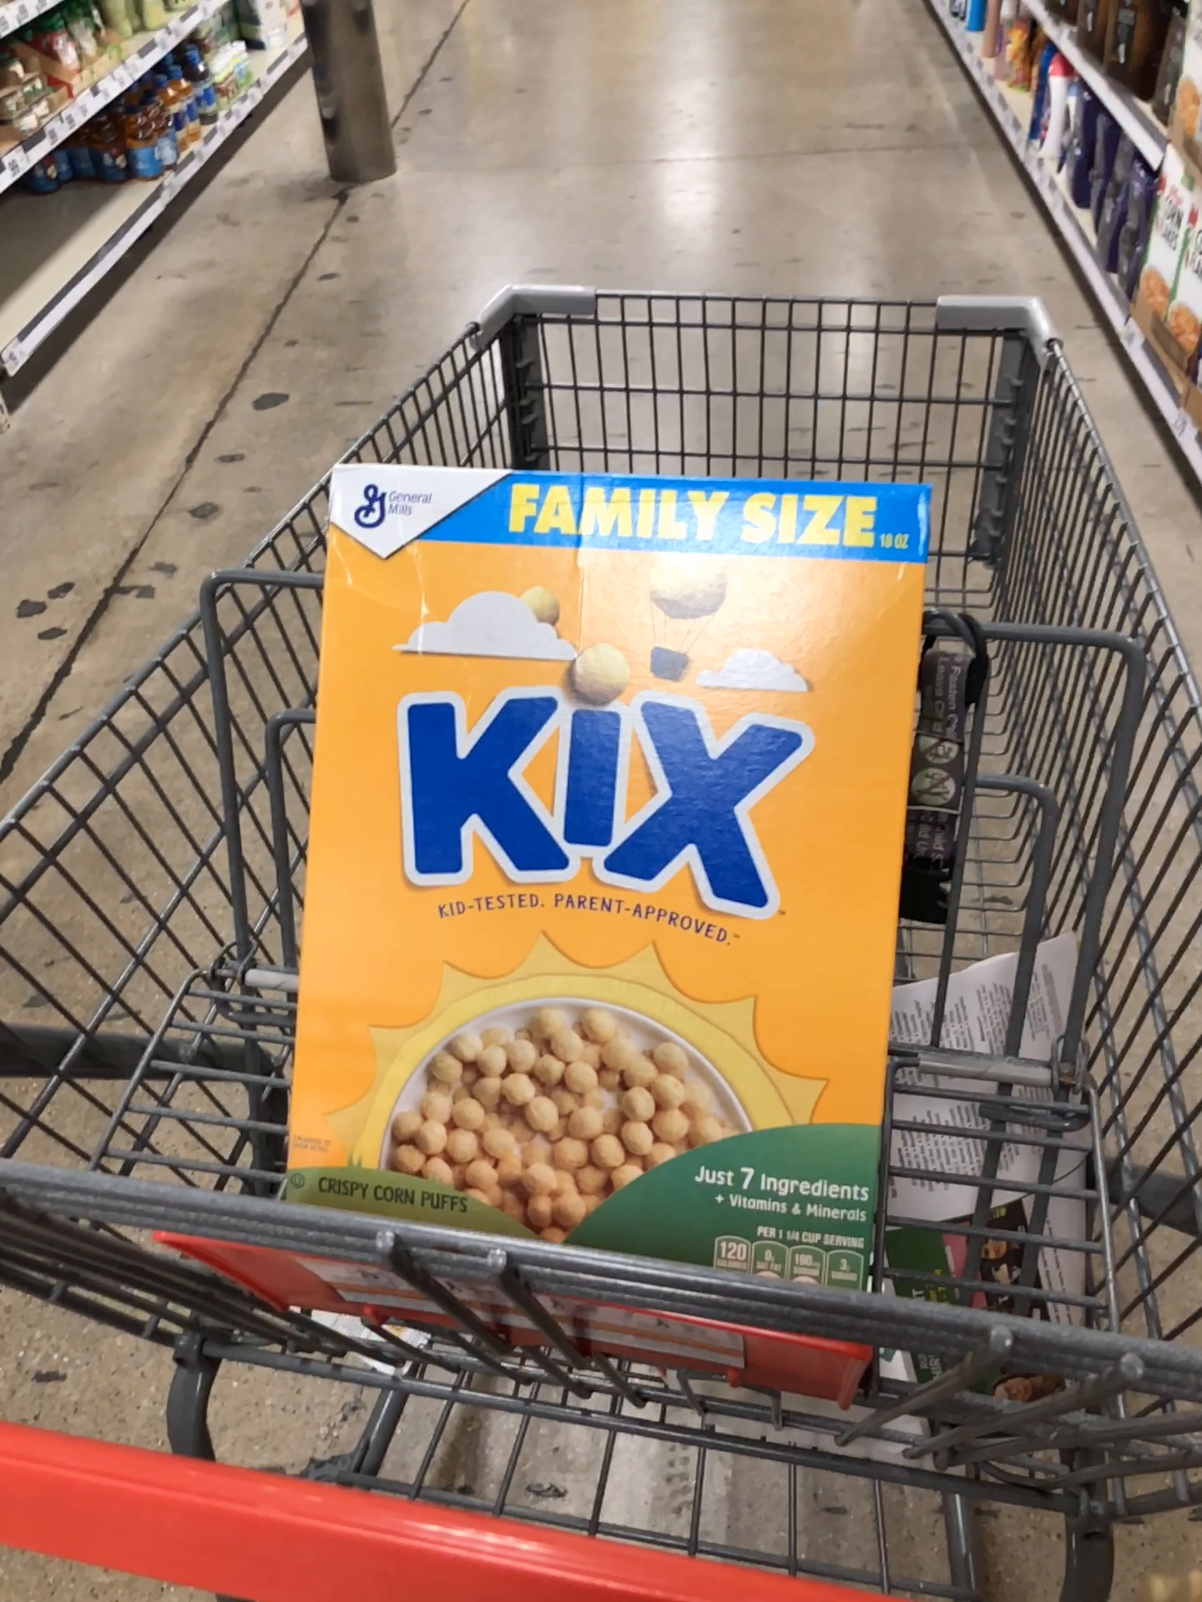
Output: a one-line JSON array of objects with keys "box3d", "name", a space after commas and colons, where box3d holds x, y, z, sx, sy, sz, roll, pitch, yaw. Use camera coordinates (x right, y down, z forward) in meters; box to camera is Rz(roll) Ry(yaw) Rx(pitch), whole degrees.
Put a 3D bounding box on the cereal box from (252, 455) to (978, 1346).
[{"box3d": [0.004, 0.031, 0.542, 0.260, 0.320, 0.070, 5, 2, 10], "name": "cereal box"}]
